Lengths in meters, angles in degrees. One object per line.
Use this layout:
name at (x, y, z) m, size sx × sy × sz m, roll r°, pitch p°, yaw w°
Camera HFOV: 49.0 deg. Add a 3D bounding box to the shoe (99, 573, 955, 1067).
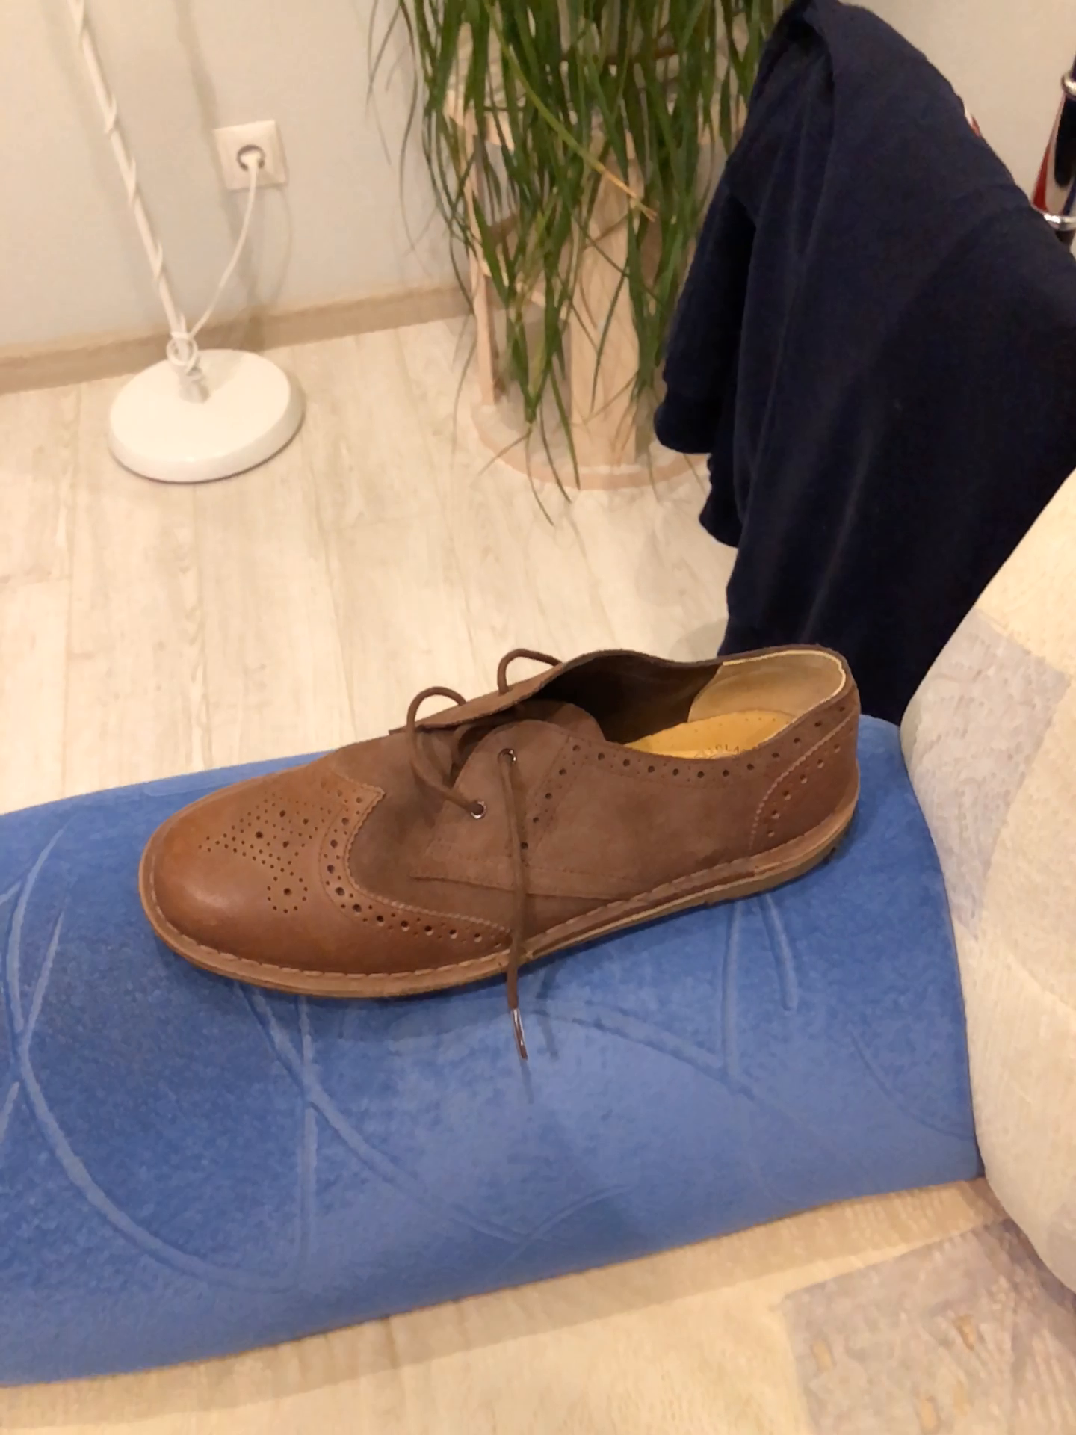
shoe at (-0.008, 0.038, 0.490) m, size 0.313 × 0.089 × 0.114 m, roll -11°, pitch 51°, yaw -7°
